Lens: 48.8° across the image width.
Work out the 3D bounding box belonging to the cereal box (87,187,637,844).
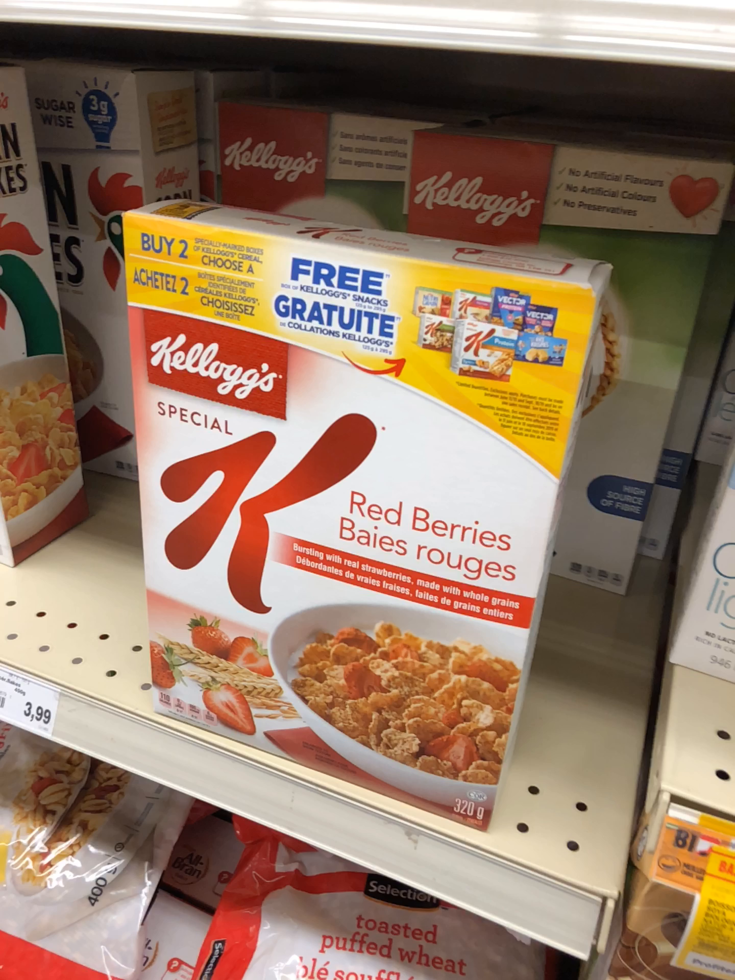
[{"bbox_3d":[-0.011,0.015,0.347,0.190,0.248,0.050,14,31,18],"label":"cereal box"}]
